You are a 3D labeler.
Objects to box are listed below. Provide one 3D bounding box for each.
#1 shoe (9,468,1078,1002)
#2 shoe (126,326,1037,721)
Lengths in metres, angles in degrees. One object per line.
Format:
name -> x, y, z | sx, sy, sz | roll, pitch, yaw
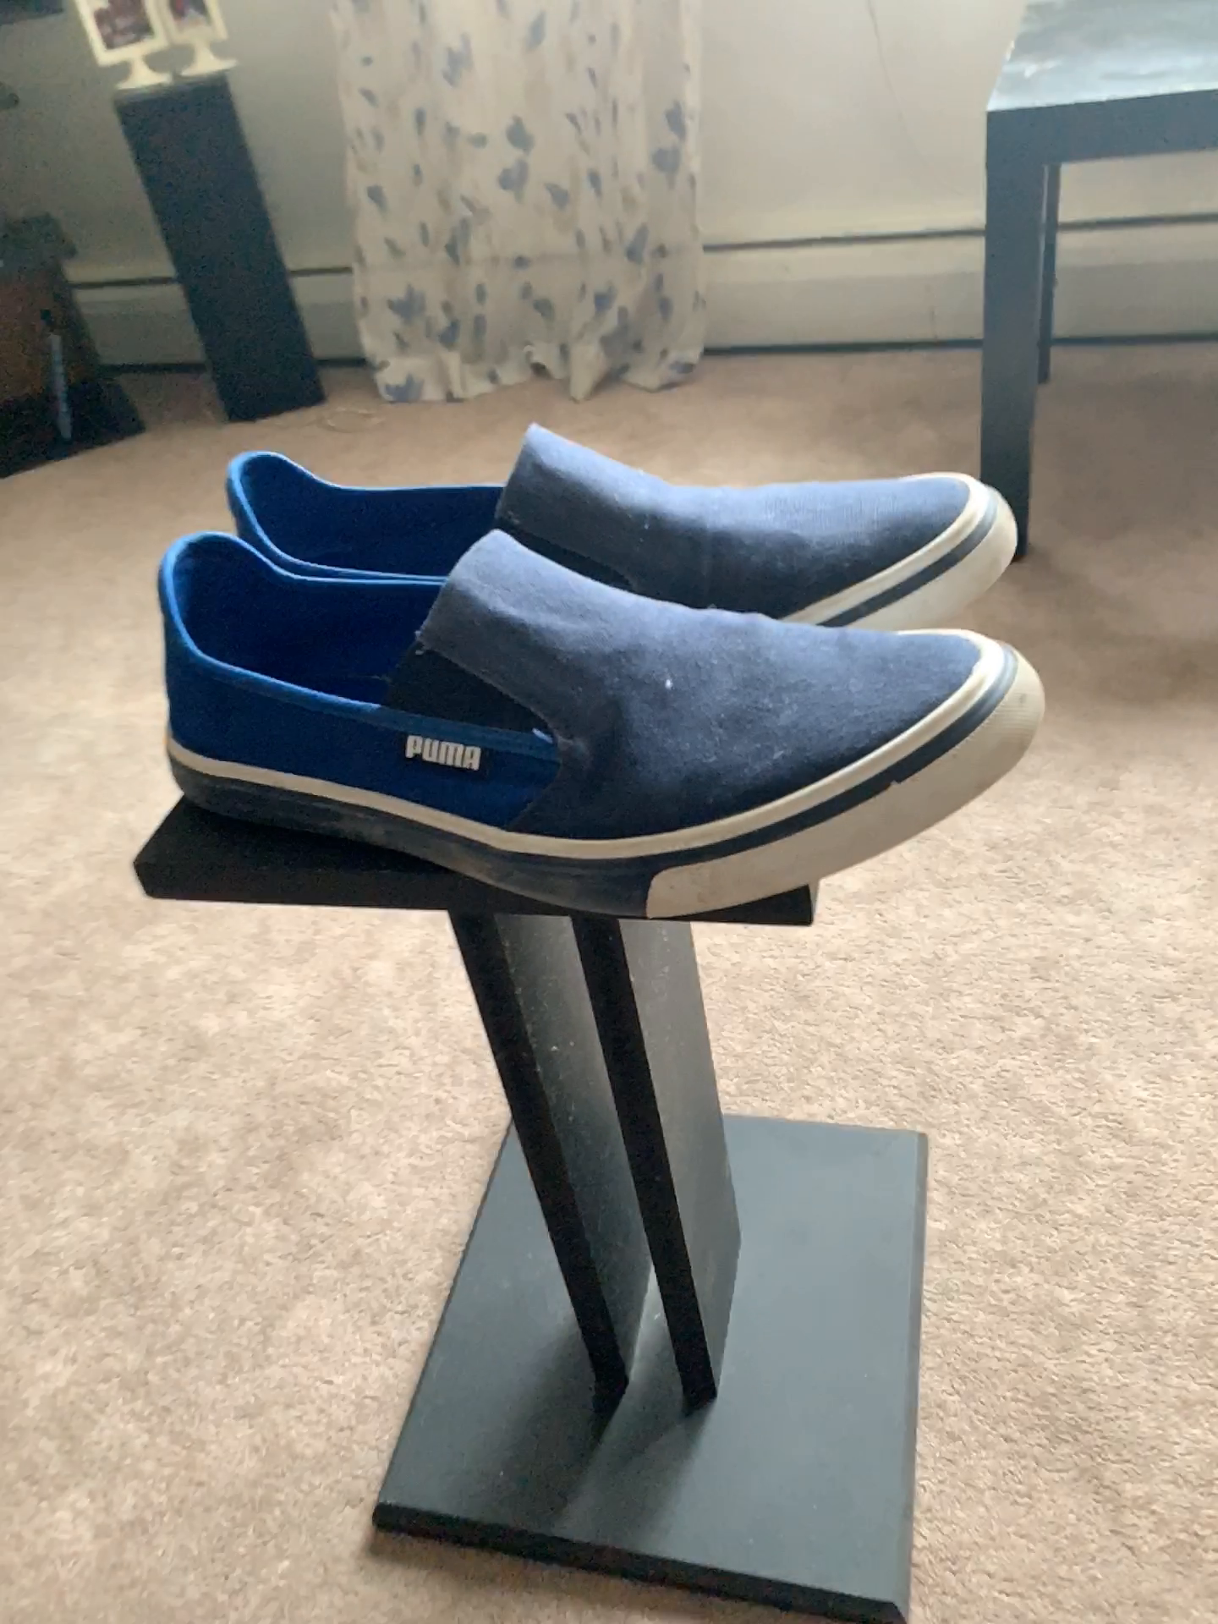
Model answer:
shoe -> -0.022, -0.041, 0.394 | 0.300, 0.079, 0.121 | 9, 41, 24
shoe -> -0.005, -0.107, 0.470 | 0.300, 0.079, 0.121 | -1, 38, 12
